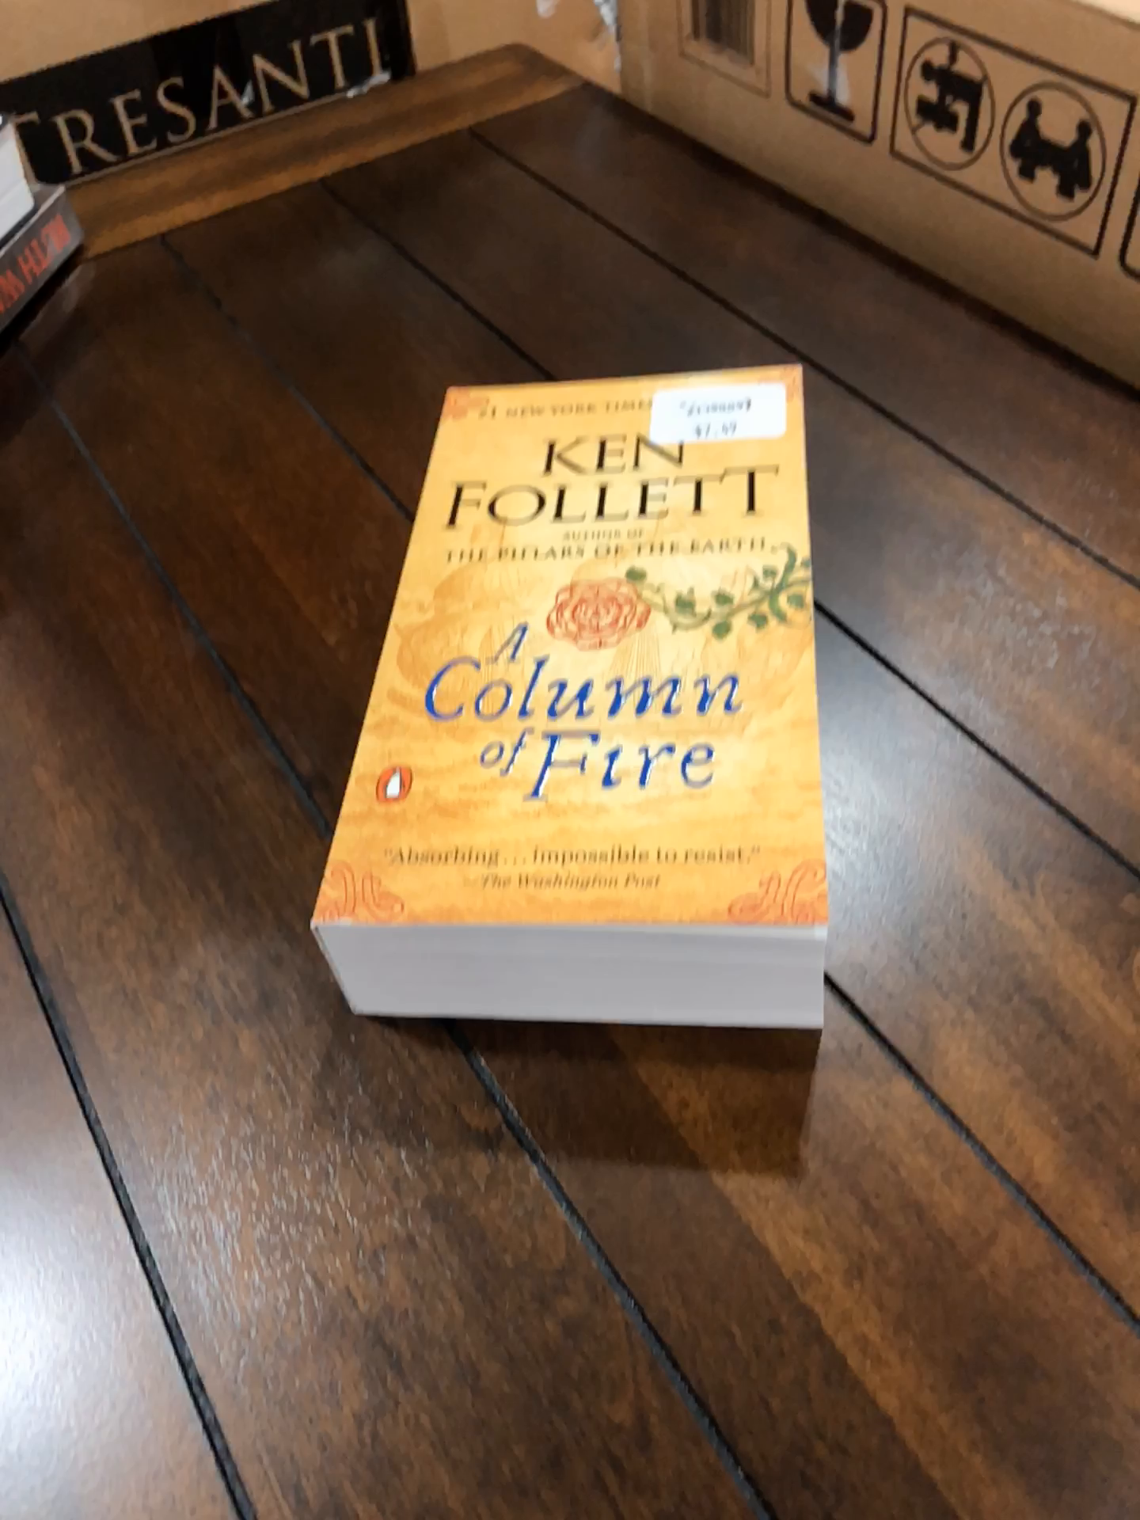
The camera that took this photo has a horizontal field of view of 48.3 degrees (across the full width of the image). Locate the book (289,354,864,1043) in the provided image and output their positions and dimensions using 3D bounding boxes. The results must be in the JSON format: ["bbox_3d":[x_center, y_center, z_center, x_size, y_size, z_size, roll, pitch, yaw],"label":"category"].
[{"bbox_3d":[0.010,-0.029,0.320,0.110,0.040,0.196,1,49,7],"label":"book"}]
